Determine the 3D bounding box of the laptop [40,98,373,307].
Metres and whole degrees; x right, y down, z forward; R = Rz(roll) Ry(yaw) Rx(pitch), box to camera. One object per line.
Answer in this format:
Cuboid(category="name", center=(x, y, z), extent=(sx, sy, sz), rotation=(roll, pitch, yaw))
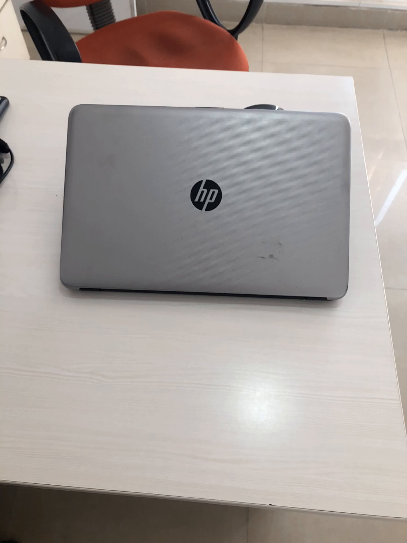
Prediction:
Cuboid(category="laptop", center=(0.004, -0.100, 0.612), extent=(0.369, 0.120, 0.252), rotation=(2, 59, 2))
